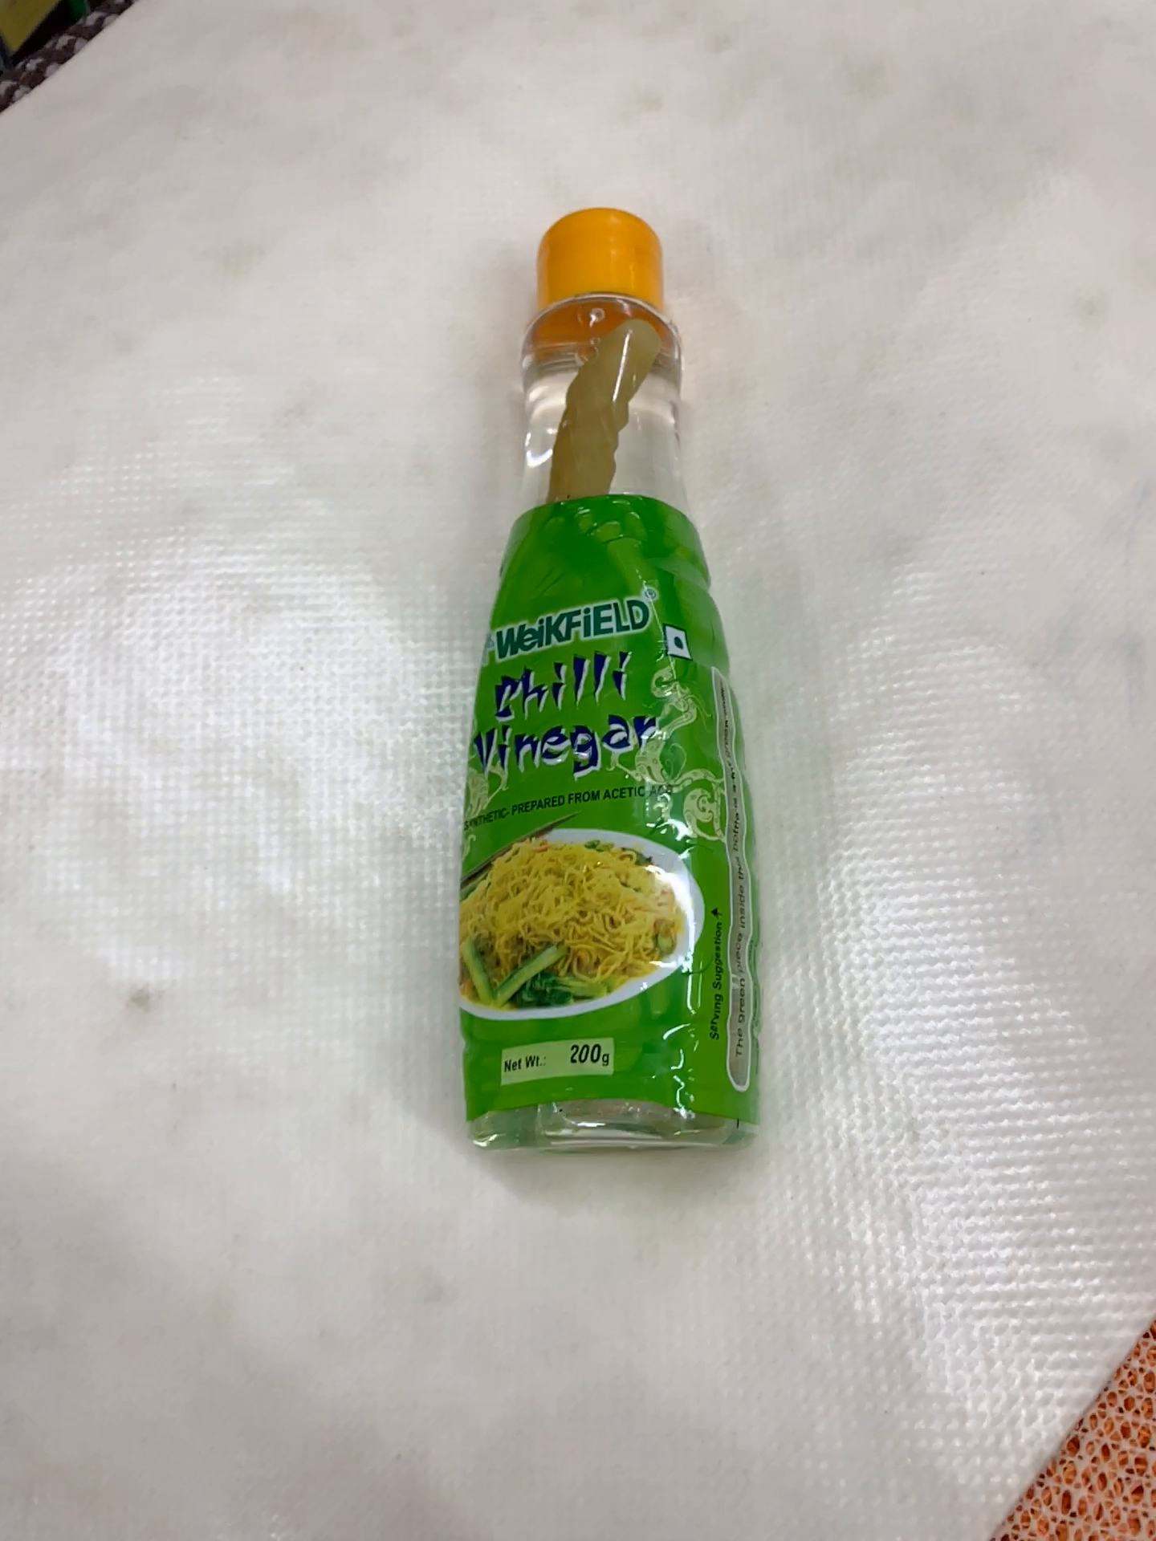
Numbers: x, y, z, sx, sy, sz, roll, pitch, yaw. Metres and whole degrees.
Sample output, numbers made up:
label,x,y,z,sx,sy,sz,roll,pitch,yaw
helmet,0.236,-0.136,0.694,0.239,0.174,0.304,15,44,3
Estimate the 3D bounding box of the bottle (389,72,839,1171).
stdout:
label,x,y,z,sx,sy,sz,roll,pitch,yaw
bottle,0.006,-0.025,0.213,0.060,0.040,0.180,-7,73,24
